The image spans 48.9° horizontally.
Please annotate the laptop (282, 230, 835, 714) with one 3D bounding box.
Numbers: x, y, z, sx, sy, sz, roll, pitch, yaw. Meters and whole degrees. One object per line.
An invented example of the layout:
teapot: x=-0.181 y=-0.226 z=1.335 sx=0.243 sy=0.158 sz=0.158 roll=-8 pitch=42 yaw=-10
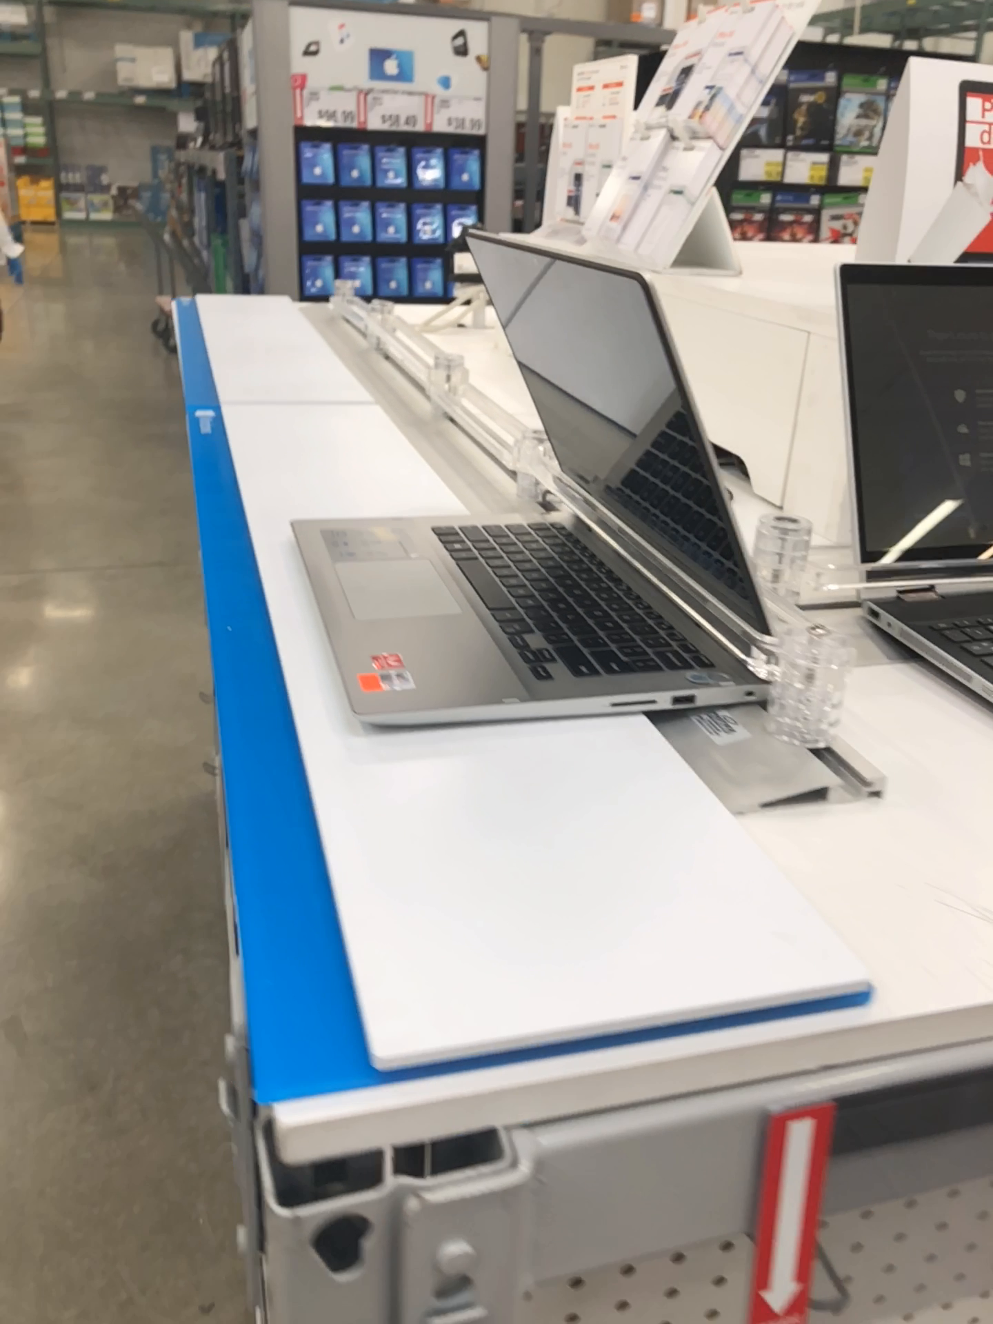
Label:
laptop: x=0.002 y=-0.138 z=0.648 sx=0.222 sy=0.199 sz=0.320 roll=-4 pitch=24 yaw=-15
